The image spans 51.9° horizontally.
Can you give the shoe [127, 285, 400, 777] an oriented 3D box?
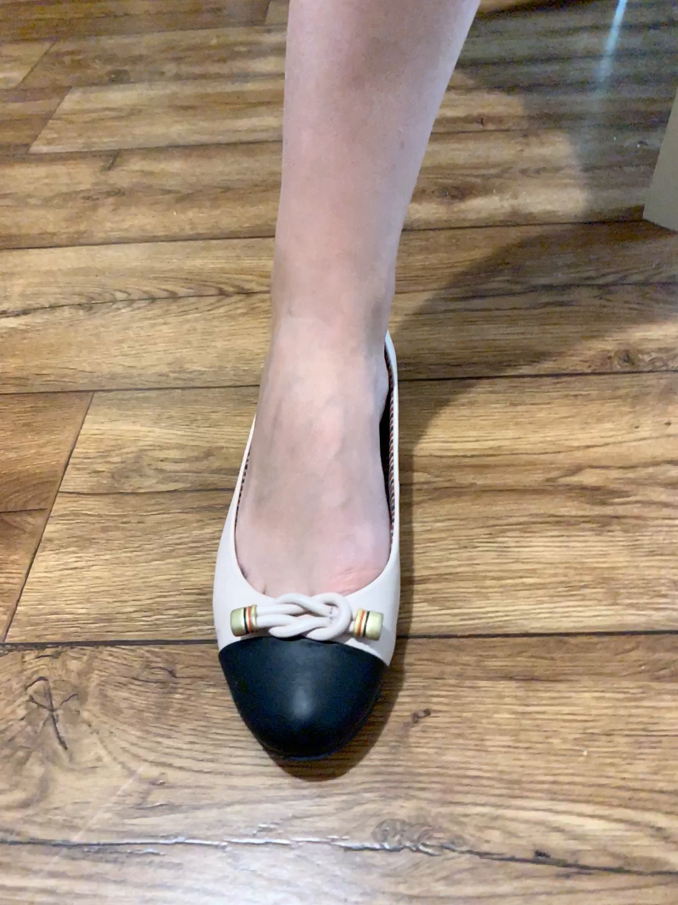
[{"bbox_3d":[-0.016,0.016,0.308,0.083,0.059,0.221,0,48,5],"label":"shoe"}]
